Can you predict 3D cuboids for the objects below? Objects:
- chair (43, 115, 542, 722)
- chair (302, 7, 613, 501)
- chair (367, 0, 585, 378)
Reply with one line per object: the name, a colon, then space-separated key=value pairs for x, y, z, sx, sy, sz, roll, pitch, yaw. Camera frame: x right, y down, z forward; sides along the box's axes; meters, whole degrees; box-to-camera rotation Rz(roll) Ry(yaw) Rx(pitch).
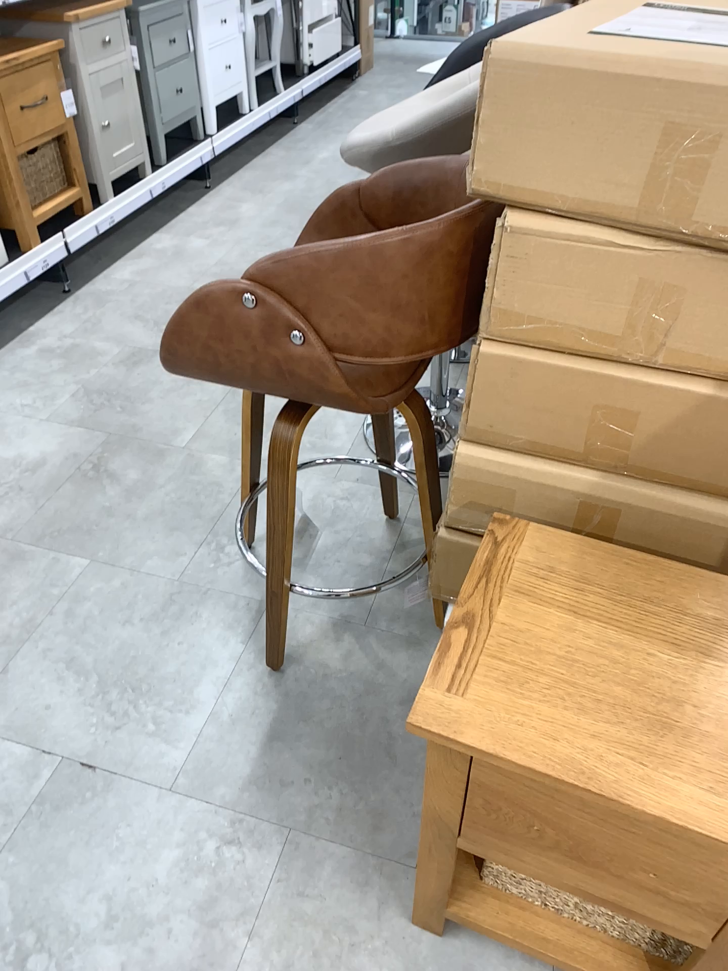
chair: x=-0.059 y=-0.121 z=1.346 sx=0.550 sy=0.846 sz=0.548 roll=13 pitch=41 yaw=15
chair: x=0.210 y=-0.526 z=1.752 sx=0.520 sy=0.945 sz=0.498 roll=11 pitch=41 yaw=13
chair: x=0.304 y=-0.857 z=2.159 sx=0.470 sy=0.886 sz=0.498 roll=11 pitch=41 yaw=13
